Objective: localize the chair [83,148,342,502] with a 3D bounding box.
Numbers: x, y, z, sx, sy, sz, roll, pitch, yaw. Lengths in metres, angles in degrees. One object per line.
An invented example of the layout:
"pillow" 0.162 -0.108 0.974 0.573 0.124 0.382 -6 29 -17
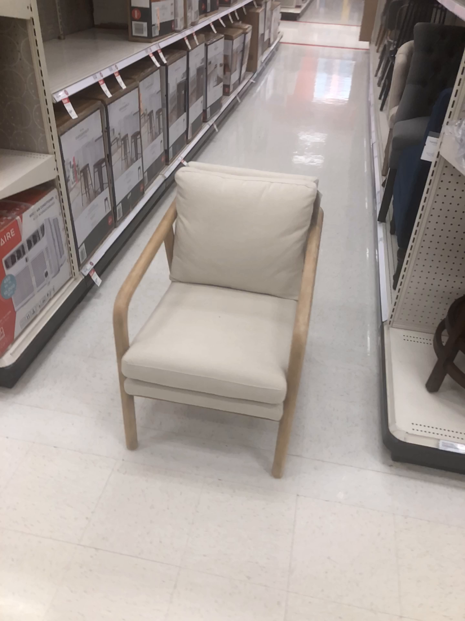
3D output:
"chair" -0.011 0.008 1.709 0.580 0.806 0.764 9 36 8
